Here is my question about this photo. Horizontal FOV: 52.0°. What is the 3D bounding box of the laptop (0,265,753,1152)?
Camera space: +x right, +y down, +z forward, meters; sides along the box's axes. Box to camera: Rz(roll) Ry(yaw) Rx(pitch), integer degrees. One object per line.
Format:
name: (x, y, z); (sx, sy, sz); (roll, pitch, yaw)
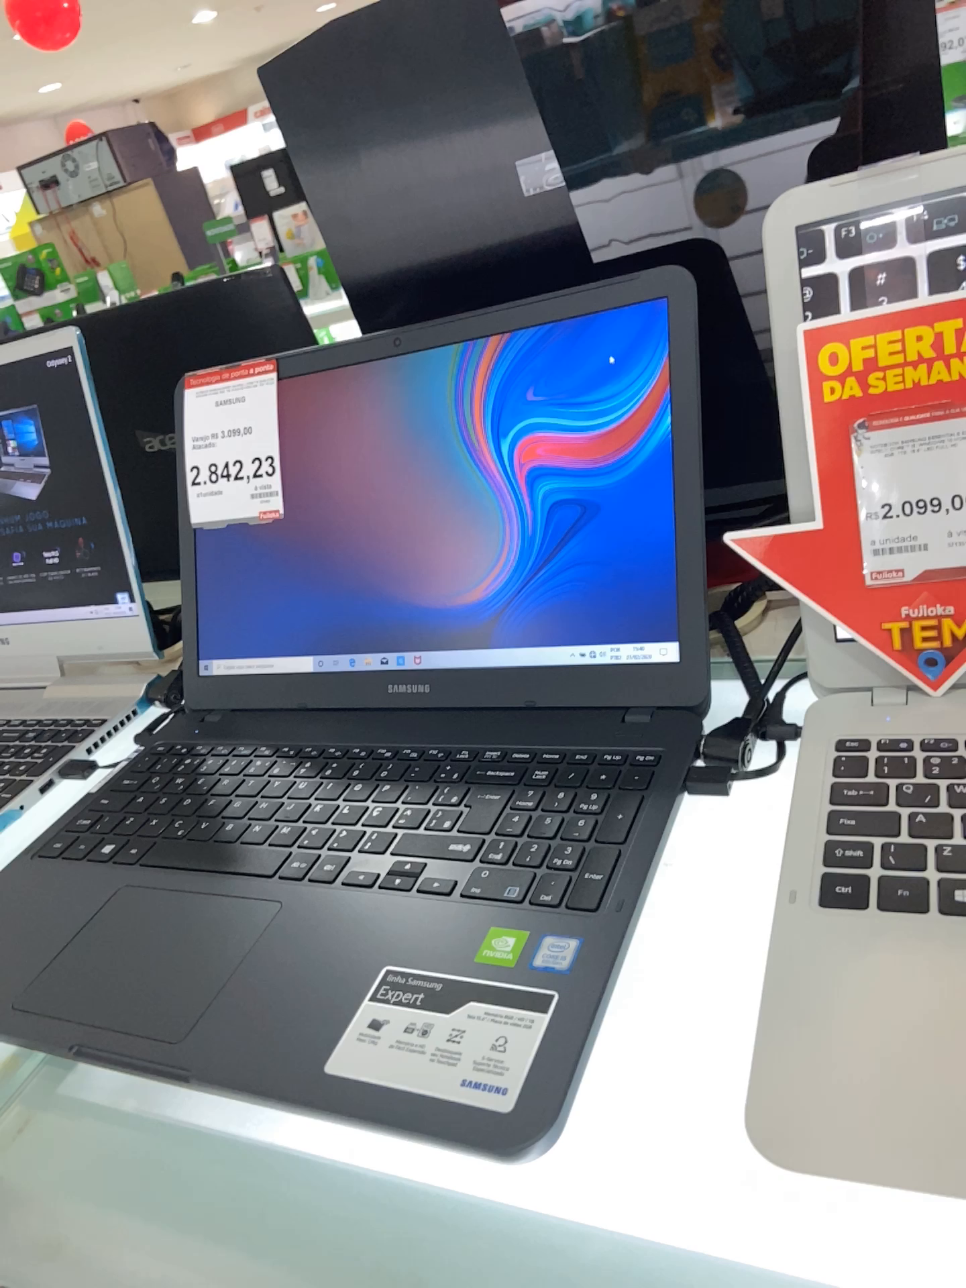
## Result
laptop: (-0.098, -0.010, 0.508); (0.366, 0.193, 0.371); (-3, 30, 29)
